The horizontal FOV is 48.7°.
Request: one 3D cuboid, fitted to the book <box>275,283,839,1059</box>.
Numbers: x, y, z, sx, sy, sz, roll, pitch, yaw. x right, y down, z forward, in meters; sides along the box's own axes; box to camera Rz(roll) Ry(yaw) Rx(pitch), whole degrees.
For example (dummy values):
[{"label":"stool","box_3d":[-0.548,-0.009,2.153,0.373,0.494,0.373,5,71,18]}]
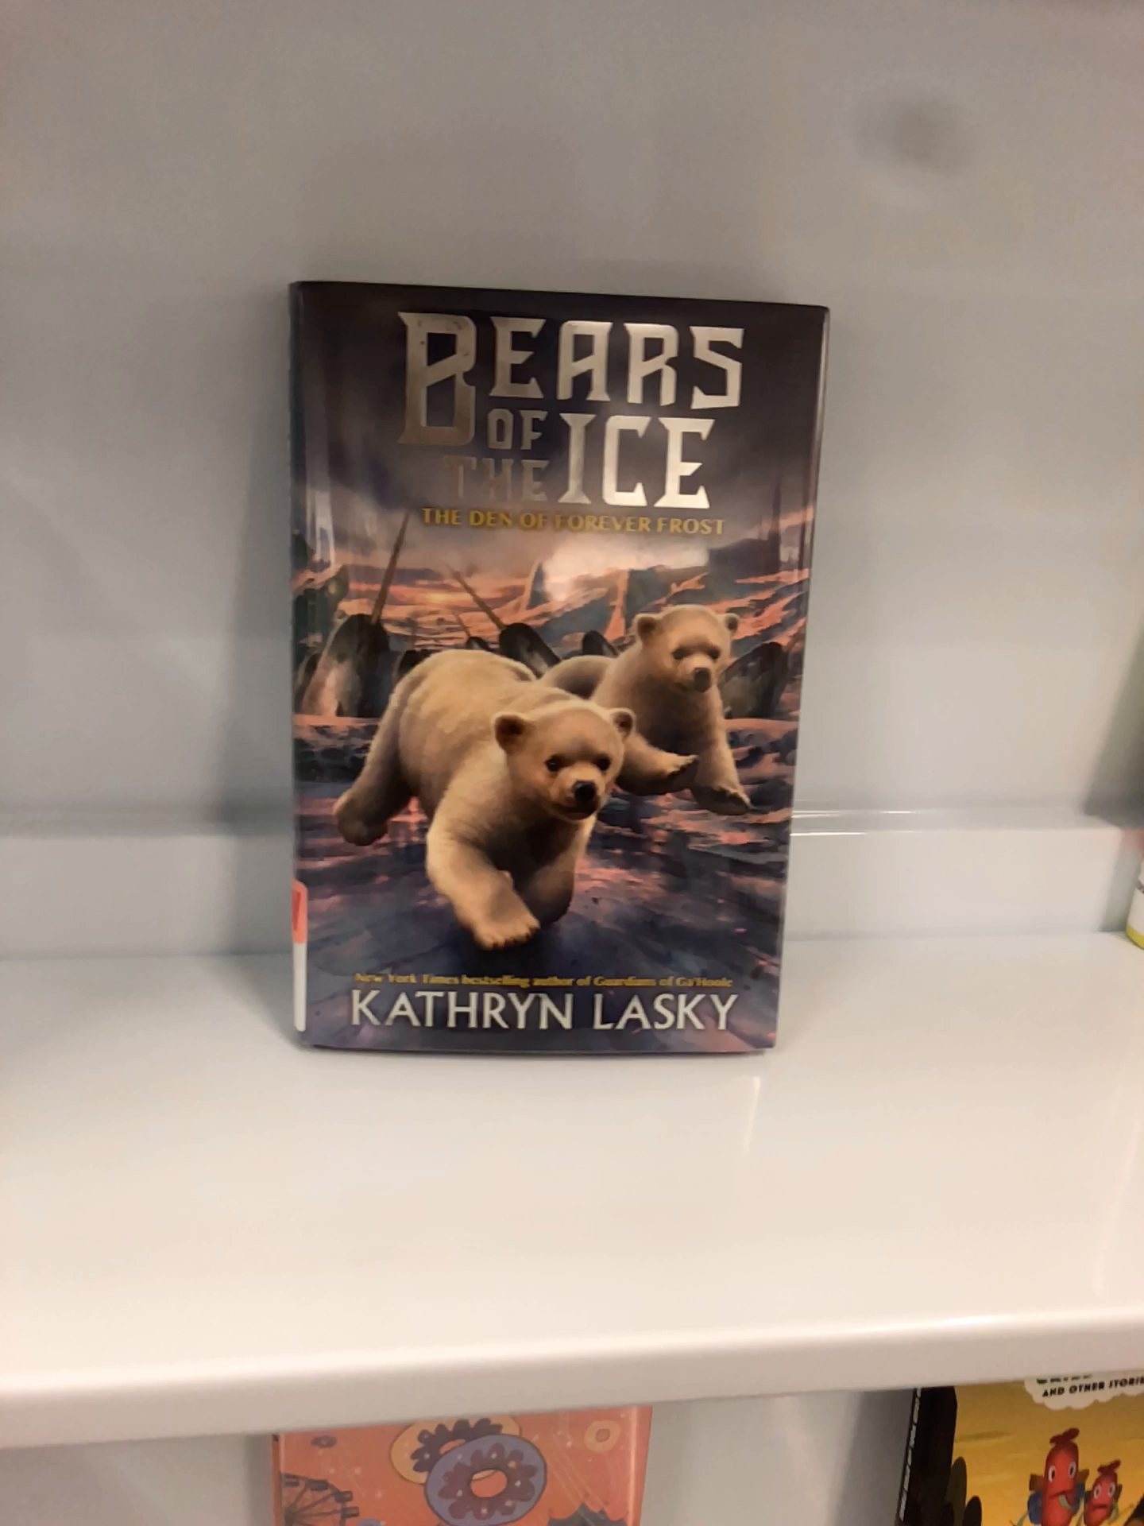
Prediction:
[{"label":"book","box_3d":[-0.007,-0.023,0.377,0.150,0.216,0.043,1,11,-3]}]
